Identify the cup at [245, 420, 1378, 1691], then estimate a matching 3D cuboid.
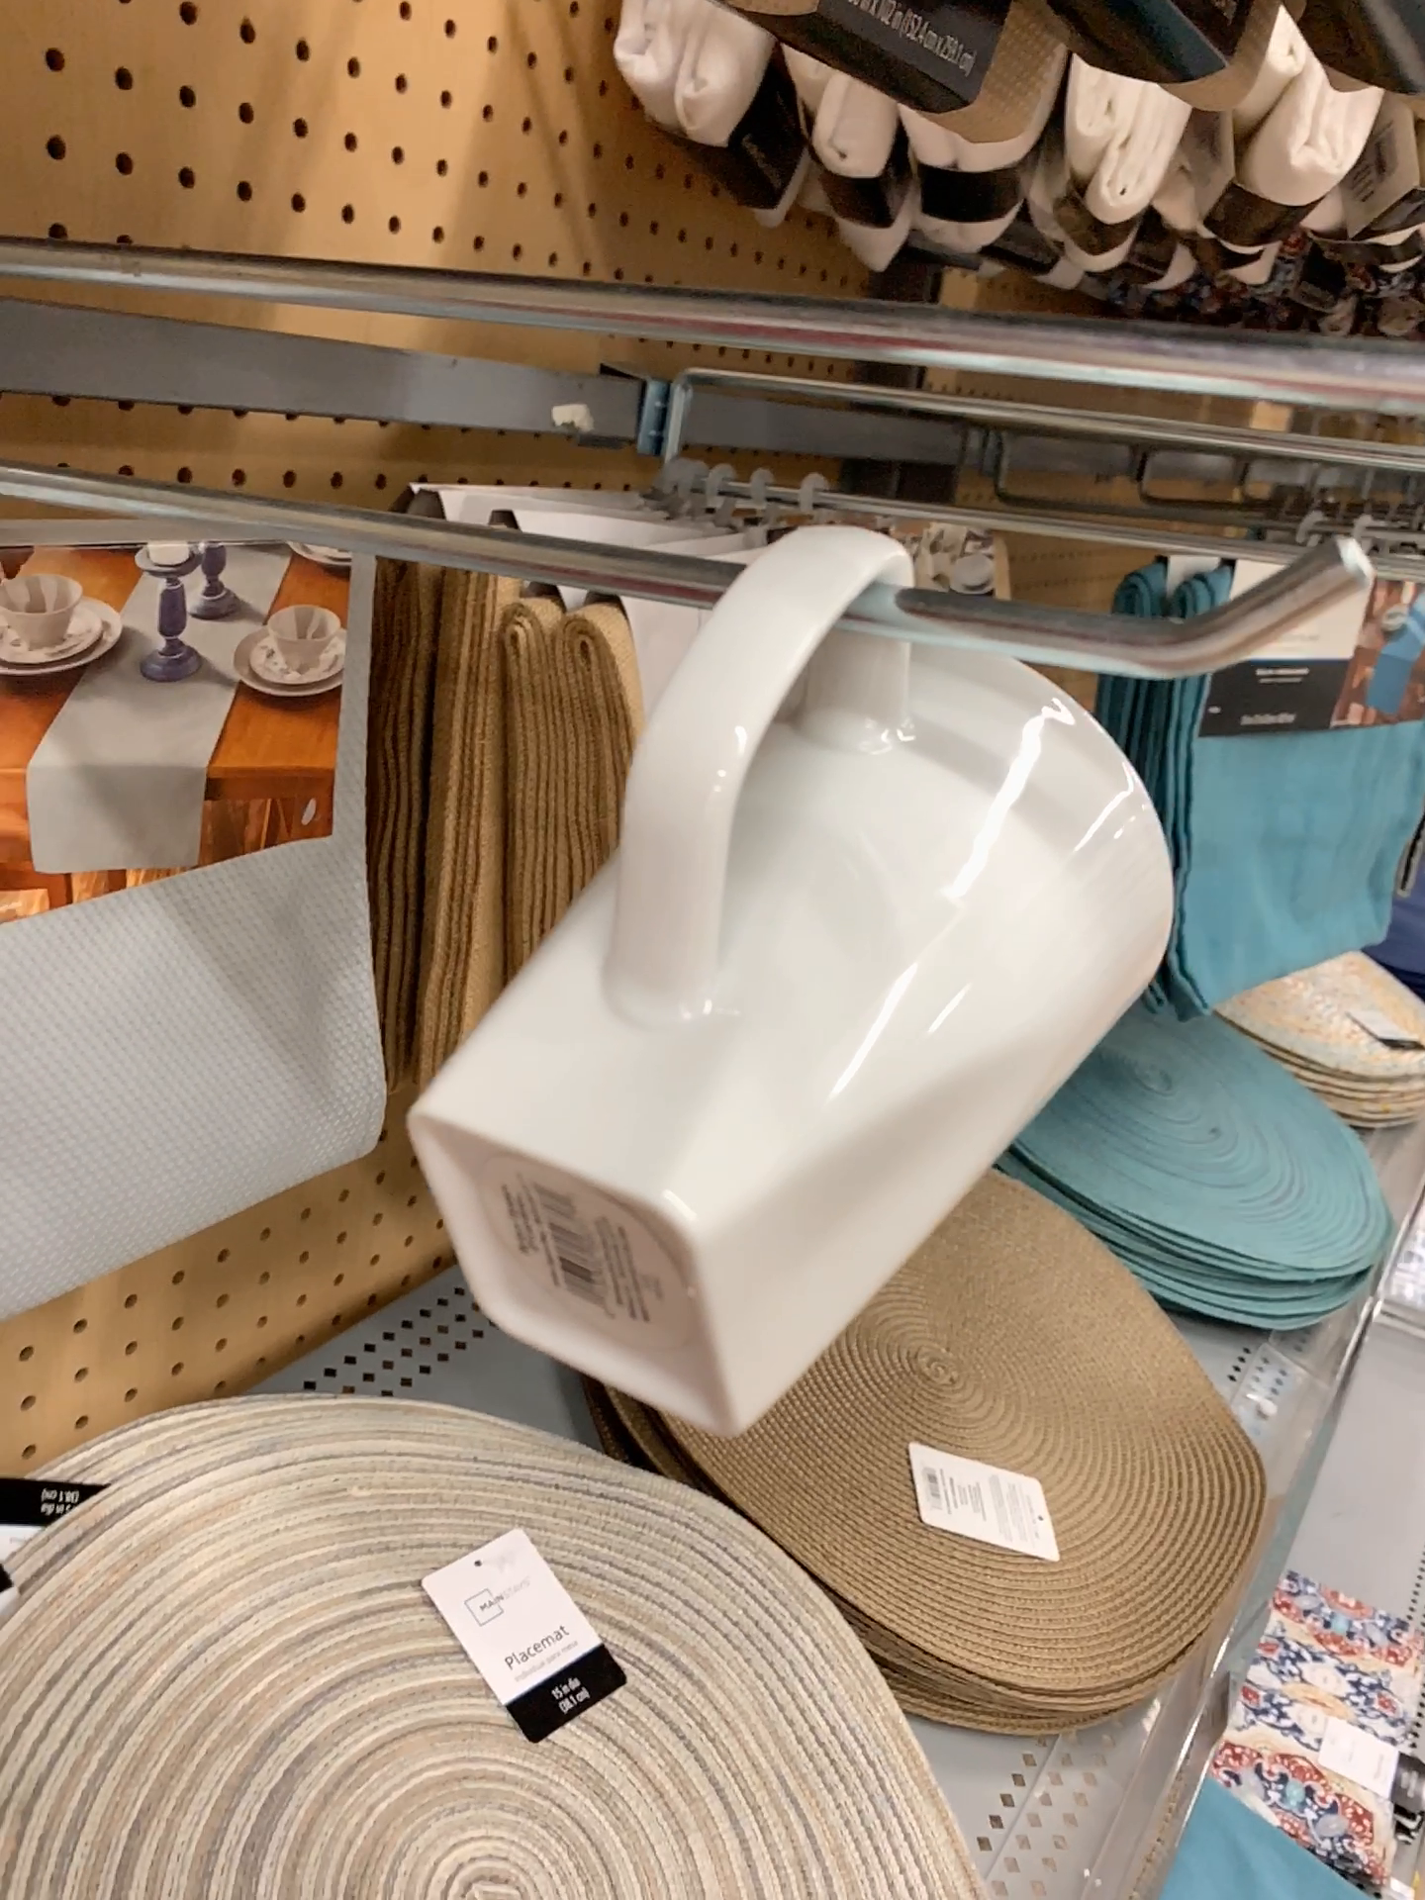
[{"bbox_3d":[0.023,0.000,0.228,0.090,0.119,0.141,21,38,29],"label":"cup"}]
